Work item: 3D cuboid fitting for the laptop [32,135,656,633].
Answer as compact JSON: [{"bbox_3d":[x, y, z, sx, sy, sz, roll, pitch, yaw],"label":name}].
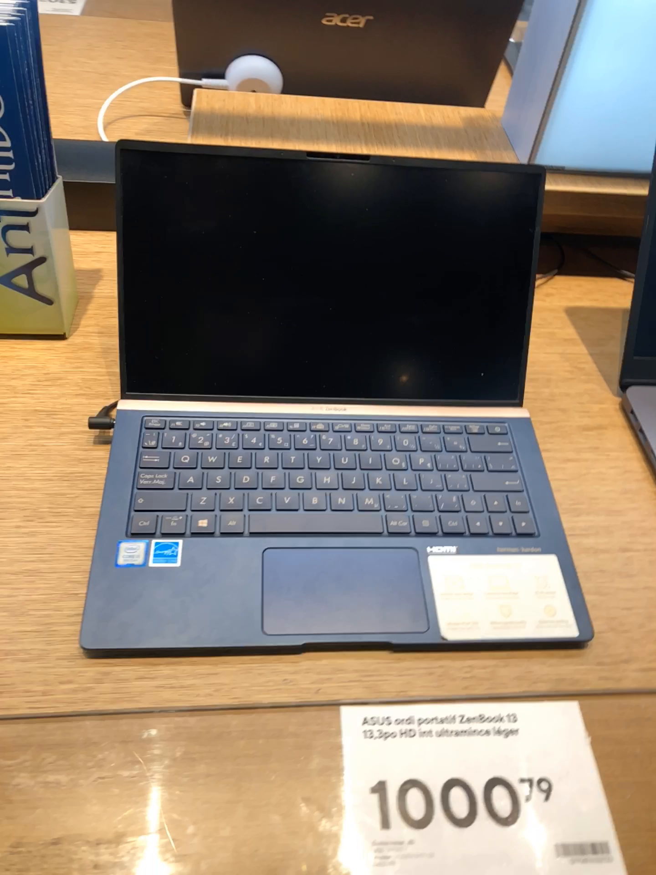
[{"bbox_3d":[0.006,-0.045,0.447,0.276,0.130,0.277,1,52,-5],"label":"laptop"}]
